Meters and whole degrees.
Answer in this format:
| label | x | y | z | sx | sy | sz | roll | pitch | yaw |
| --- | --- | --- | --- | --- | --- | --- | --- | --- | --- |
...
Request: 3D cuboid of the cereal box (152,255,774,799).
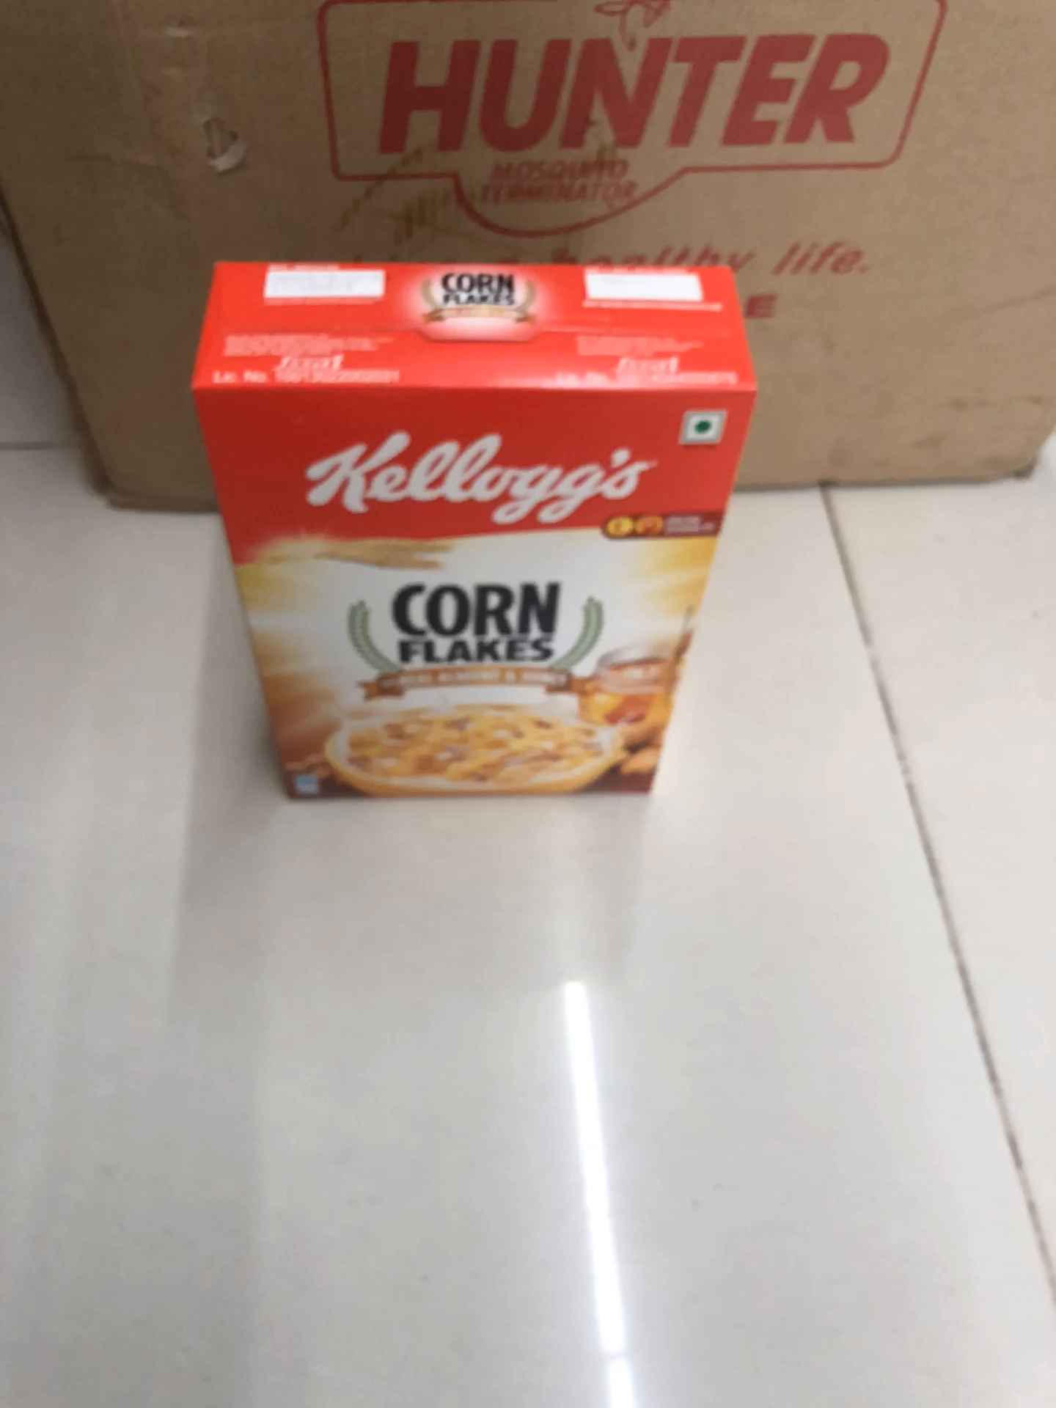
| label | x | y | z | sx | sy | sz | roll | pitch | yaw |
| --- | --- | --- | --- | --- | --- | --- | --- | --- | --- |
| cereal box | -0.027 | -0.057 | 0.509 | 0.200 | 0.259 | 0.070 | -1 | 56 | -4 |
